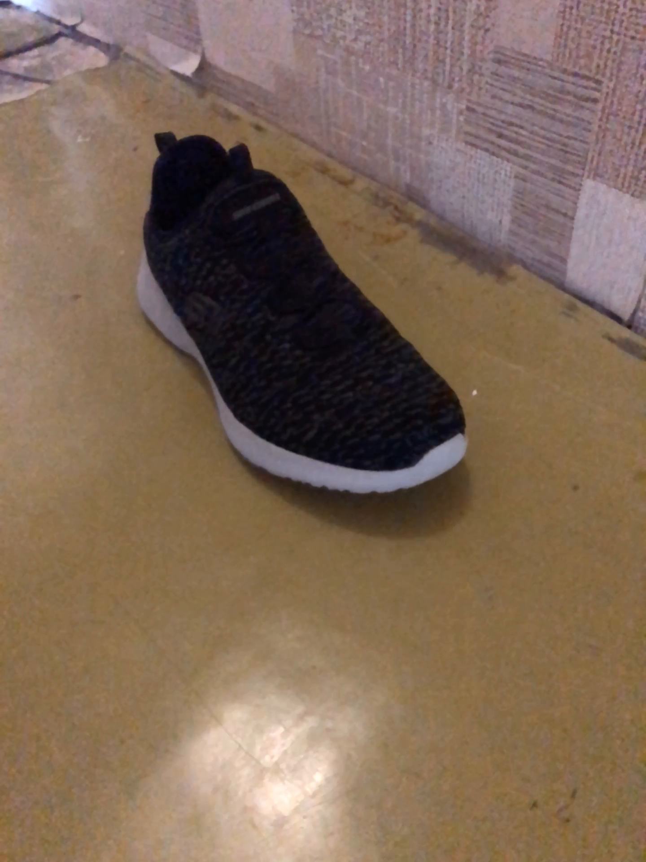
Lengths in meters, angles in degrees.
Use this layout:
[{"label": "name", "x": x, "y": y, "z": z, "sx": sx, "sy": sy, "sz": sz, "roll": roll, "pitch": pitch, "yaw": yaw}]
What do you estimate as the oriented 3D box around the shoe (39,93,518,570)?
[{"label": "shoe", "x": -0.047, "y": -0.089, "z": 0.461, "sx": 0.130, "sy": 0.119, "sz": 0.321, "roll": -28, "pitch": 51, "yaw": -21}]
